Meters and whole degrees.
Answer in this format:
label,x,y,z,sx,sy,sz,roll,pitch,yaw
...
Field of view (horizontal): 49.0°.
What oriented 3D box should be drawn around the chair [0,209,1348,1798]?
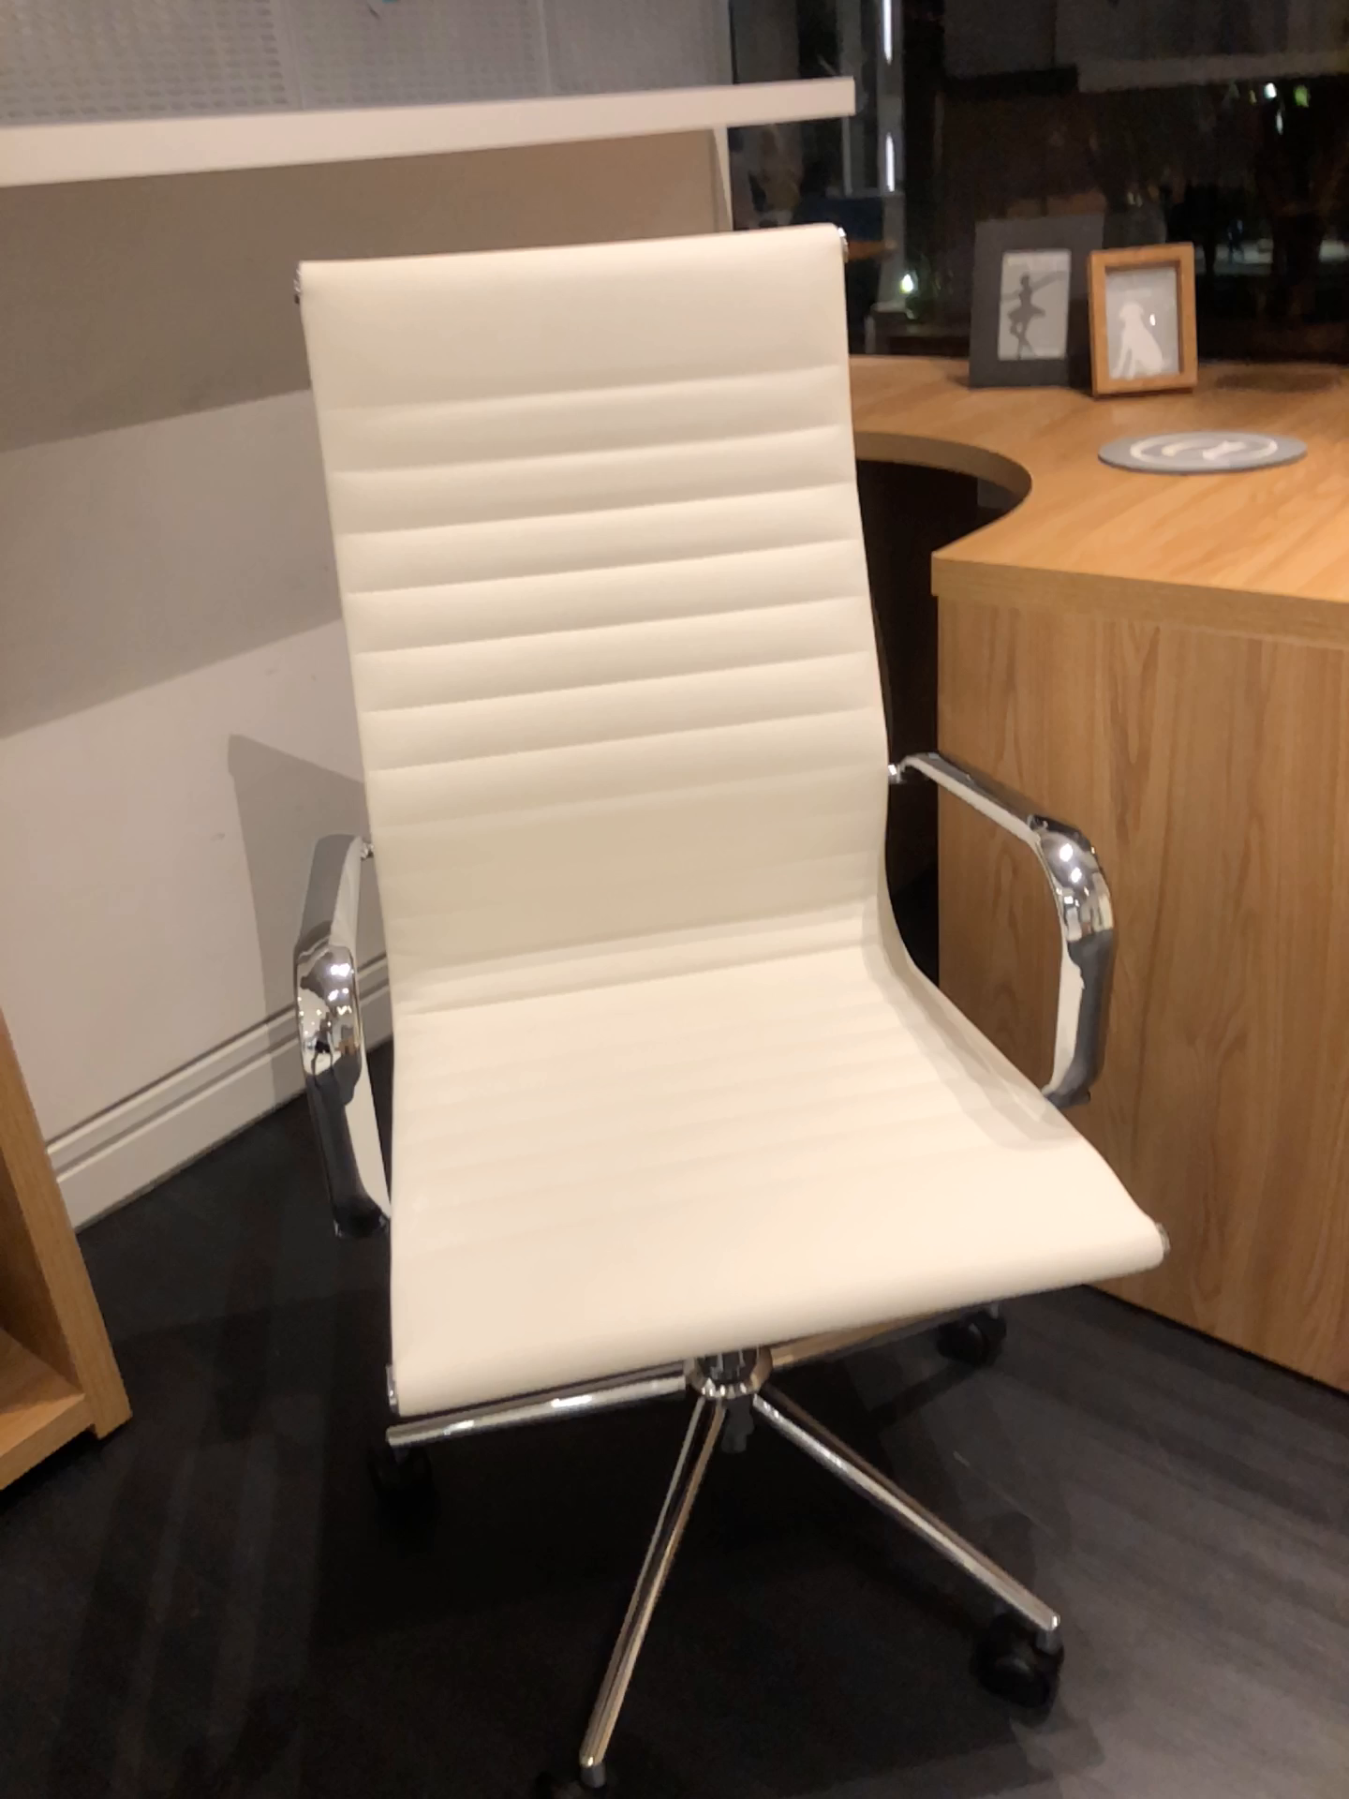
label,x,y,z,sx,sy,sz,roll,pitch,yaw
chair,0.009,0.057,1.149,0.630,1.013,0.634,-9,27,-8
